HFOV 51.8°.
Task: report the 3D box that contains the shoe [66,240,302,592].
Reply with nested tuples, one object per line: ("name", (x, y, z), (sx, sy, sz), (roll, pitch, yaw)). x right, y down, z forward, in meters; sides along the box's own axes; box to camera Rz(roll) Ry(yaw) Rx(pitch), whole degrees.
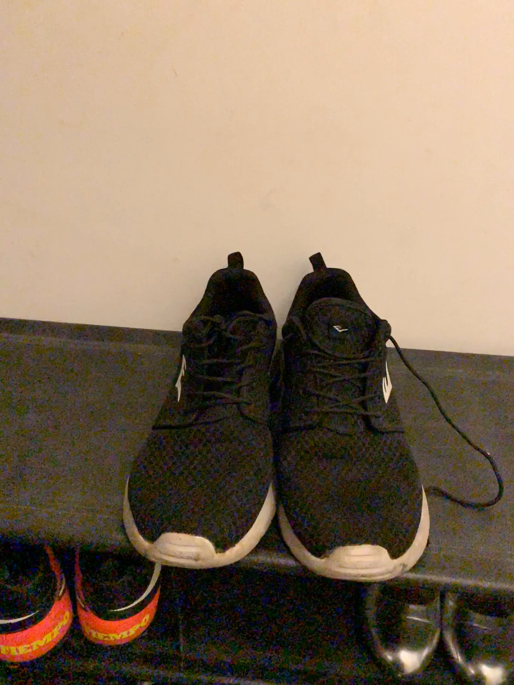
("shoe", (-0.029, 0.024, 0.423), (0.110, 0.099, 0.303), (5, 32, 5))

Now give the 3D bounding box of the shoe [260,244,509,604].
("shoe", (0.076, 0.028, 0.418), (0.120, 0.099, 0.303), (4, 32, 3))
